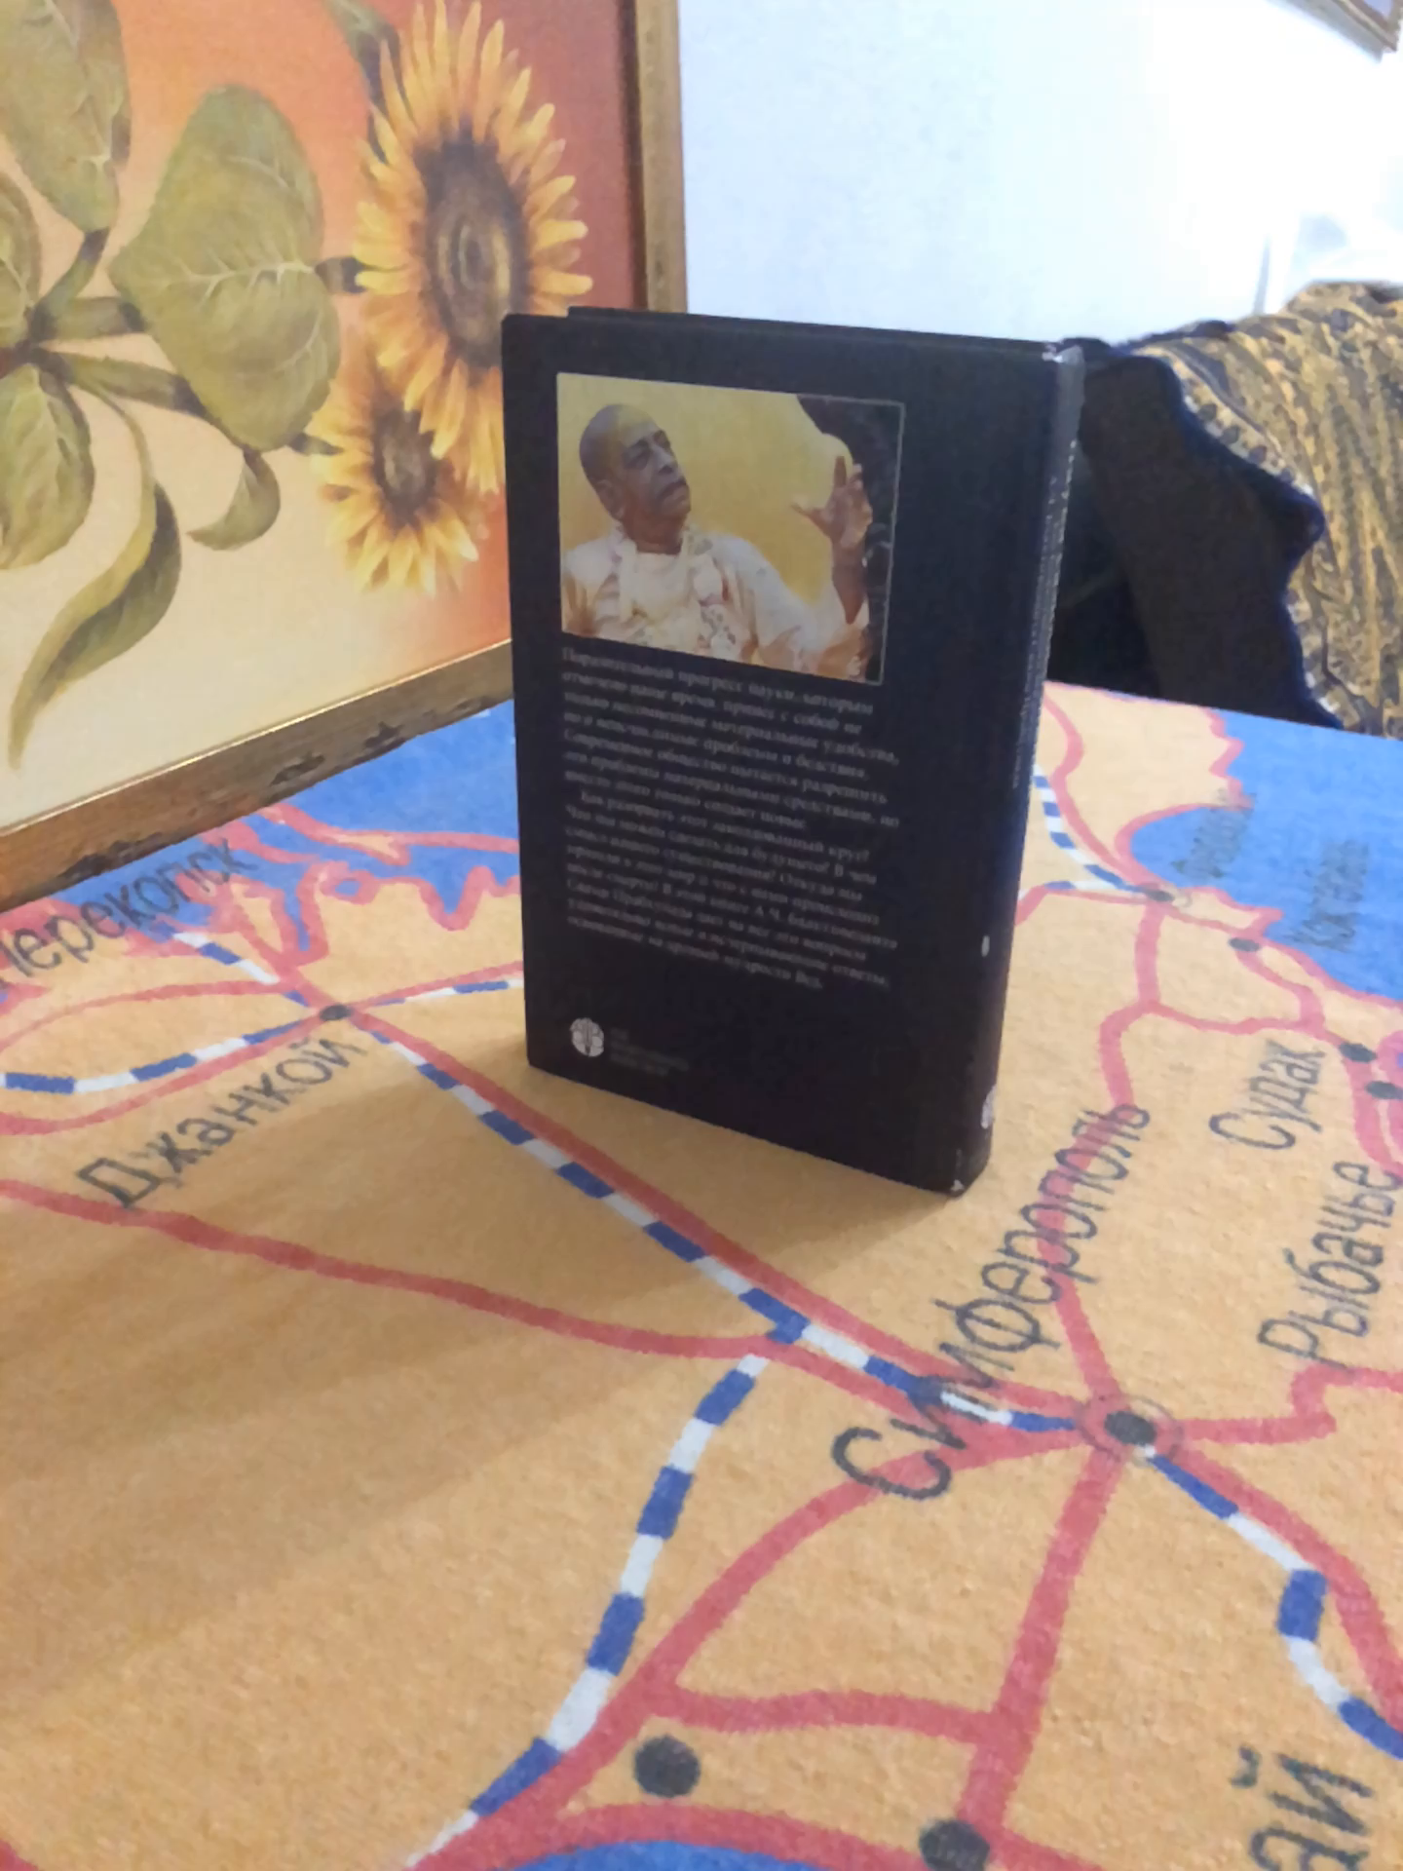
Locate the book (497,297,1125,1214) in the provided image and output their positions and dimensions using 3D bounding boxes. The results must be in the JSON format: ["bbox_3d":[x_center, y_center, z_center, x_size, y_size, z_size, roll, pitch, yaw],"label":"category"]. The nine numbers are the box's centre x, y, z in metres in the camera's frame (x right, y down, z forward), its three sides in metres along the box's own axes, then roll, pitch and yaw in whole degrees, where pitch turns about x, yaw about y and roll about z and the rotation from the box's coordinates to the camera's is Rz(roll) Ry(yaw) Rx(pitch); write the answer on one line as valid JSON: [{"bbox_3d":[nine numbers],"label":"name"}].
[{"bbox_3d":[0.018,-0.044,0.388,0.140,0.206,0.030,14,27,24],"label":"book"}]
